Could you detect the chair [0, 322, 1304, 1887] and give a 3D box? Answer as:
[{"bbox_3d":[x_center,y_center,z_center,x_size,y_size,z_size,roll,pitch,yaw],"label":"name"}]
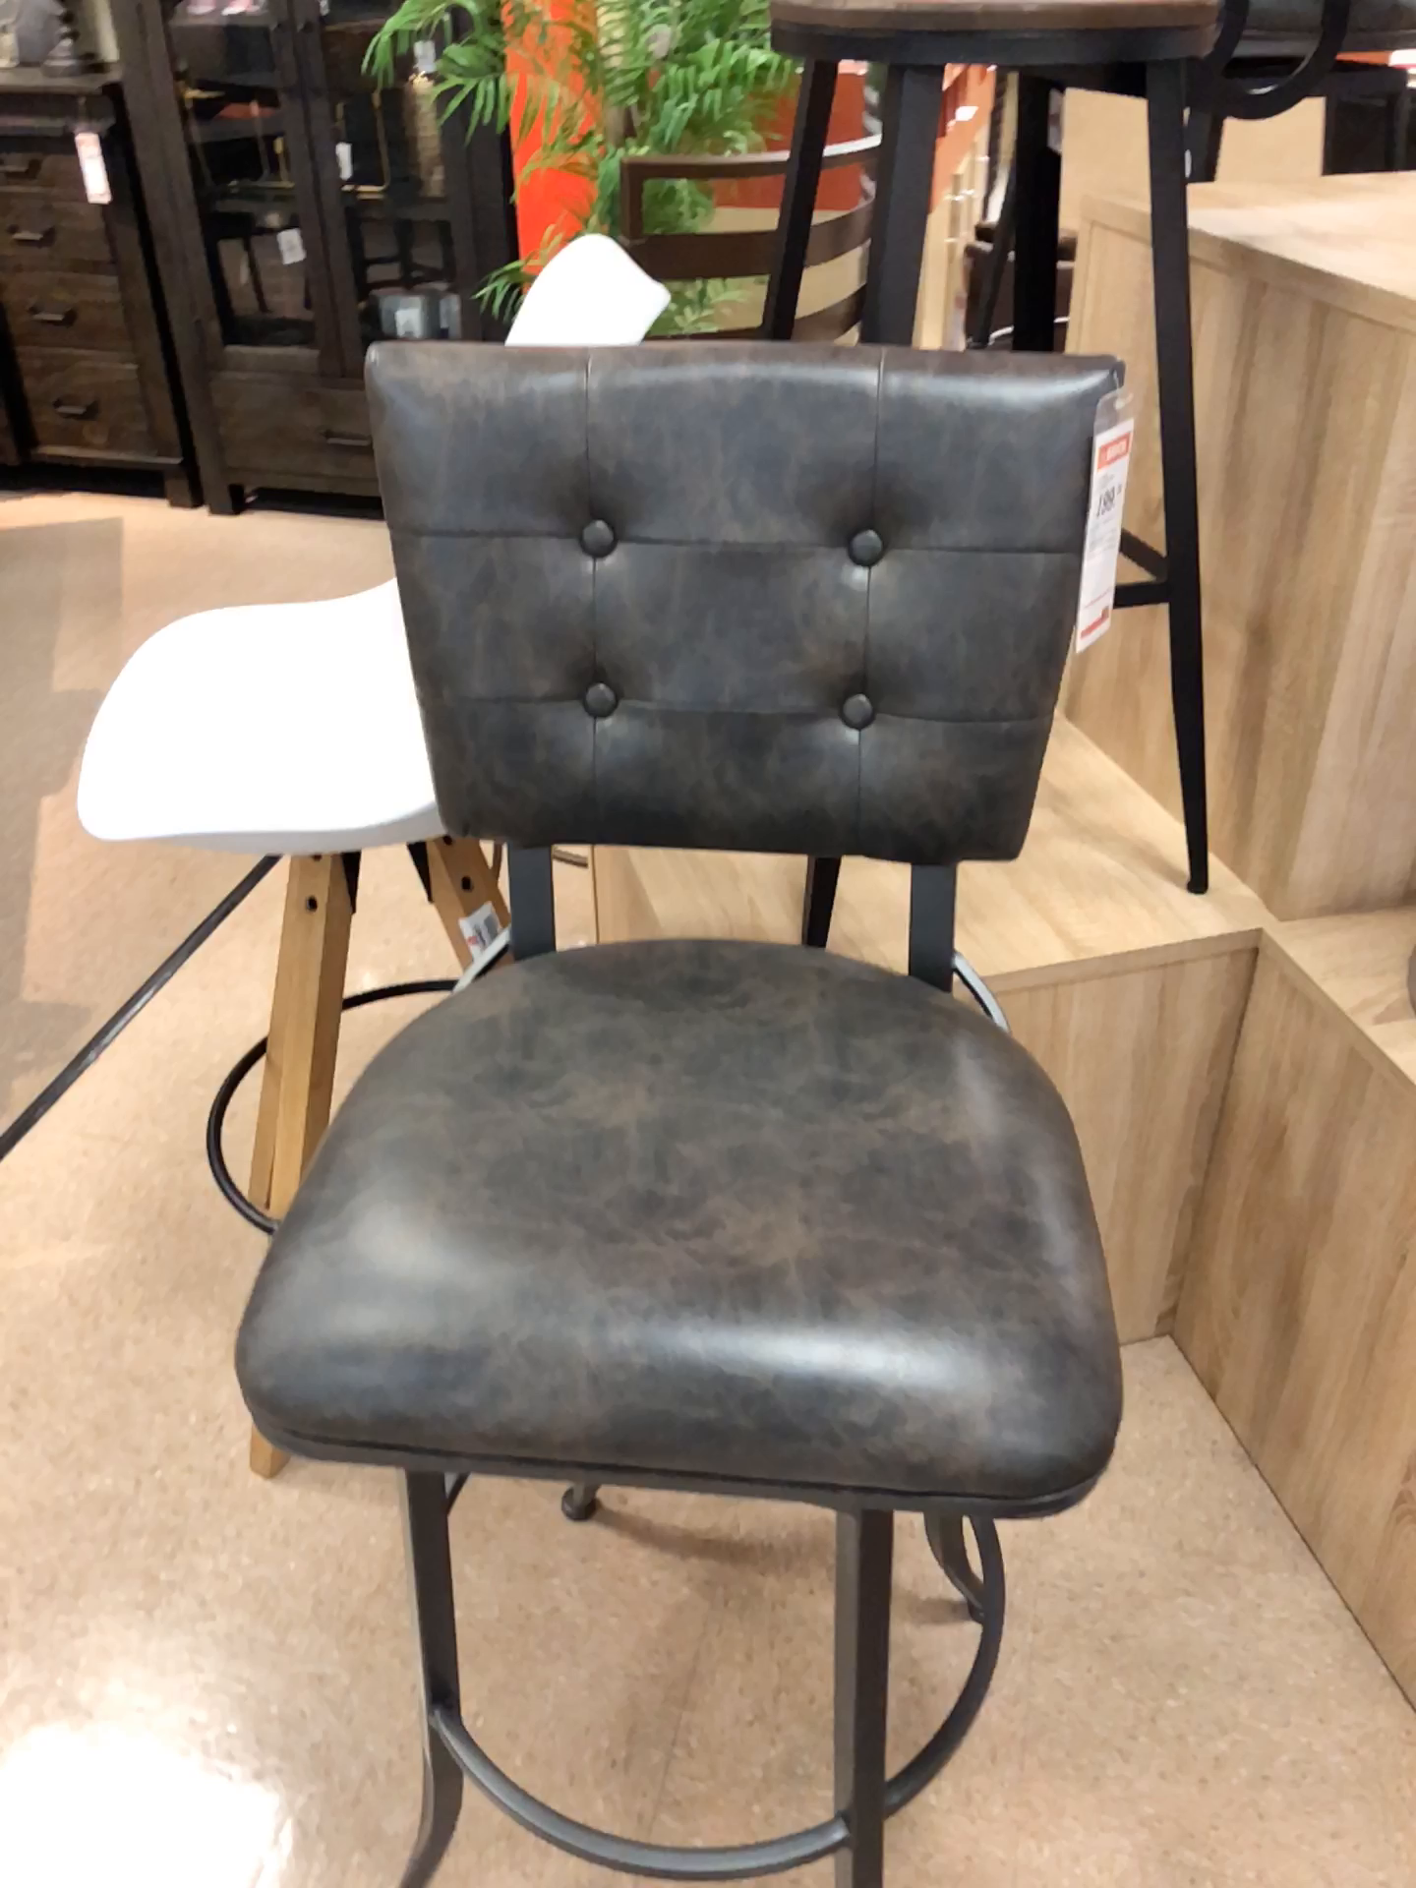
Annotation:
[{"bbox_3d":[-0.009,0.229,1.035,0.518,1.108,0.514,3,34,9],"label":"chair"}]
